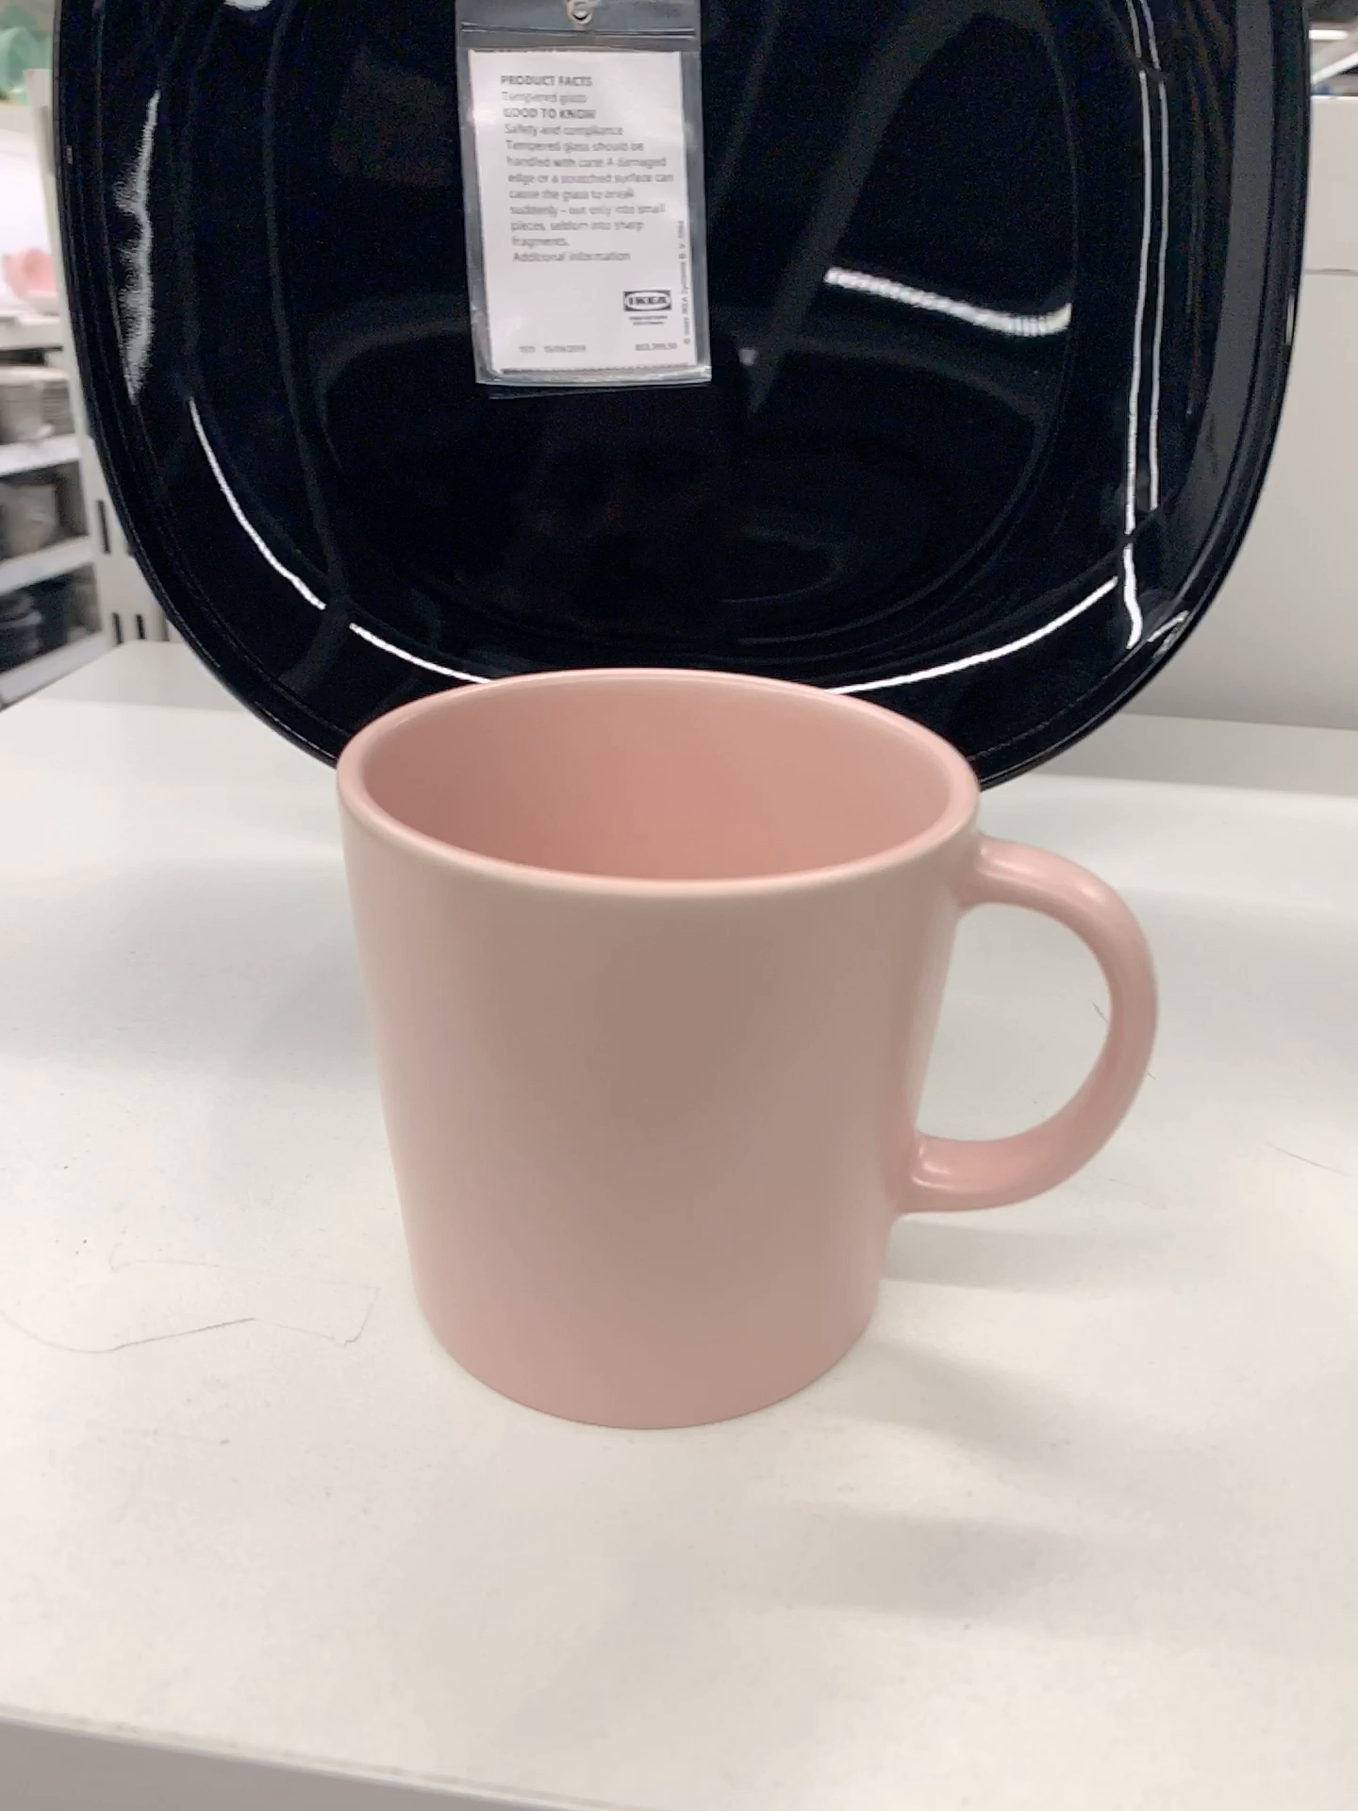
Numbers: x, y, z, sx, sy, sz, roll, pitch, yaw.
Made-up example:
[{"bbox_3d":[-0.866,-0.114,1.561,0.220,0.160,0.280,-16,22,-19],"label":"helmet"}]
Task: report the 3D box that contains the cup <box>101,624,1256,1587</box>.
[{"bbox_3d":[0.005,0.015,0.197,0.120,0.080,0.090,8,25,13],"label":"cup"}]
